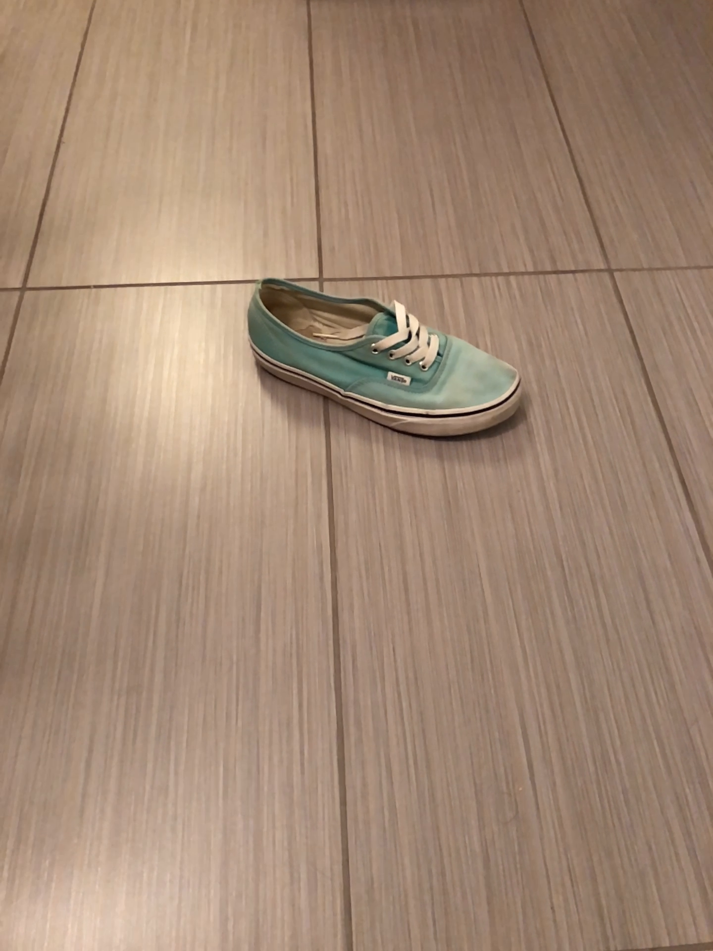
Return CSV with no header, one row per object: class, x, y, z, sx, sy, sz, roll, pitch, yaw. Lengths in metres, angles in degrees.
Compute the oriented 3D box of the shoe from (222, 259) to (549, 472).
shoe,0.024,-0.099,0.690,0.260,0.080,0.090,18,58,11
